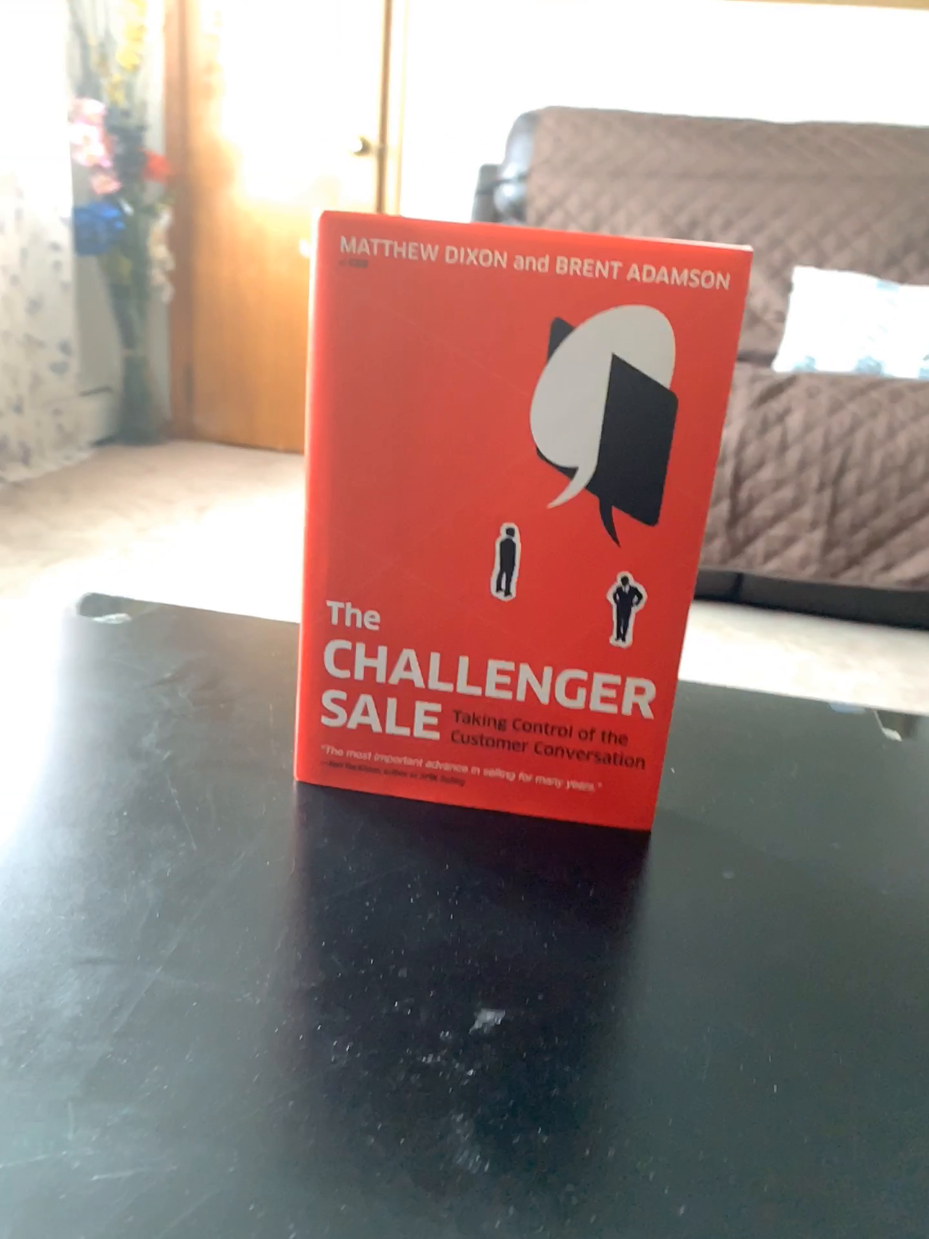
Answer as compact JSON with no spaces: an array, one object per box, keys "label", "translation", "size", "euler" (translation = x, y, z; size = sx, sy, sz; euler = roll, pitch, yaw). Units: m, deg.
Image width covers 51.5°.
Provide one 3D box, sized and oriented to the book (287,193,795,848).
[{"label":"book","translation":[0.019,-0.034,0.387],"size":[0.170,0.239,0.040],"euler":[7,20,5]}]
